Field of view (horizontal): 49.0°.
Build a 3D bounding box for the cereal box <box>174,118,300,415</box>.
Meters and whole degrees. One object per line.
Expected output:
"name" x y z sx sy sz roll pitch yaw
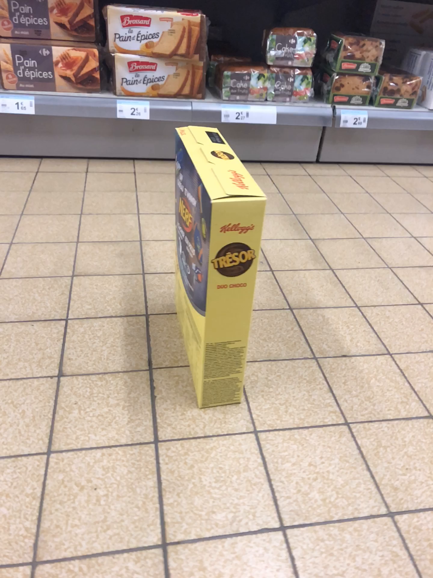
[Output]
"cereal box" 0.003 -0.030 0.502 0.060 0.238 0.201 -3 35 -13
